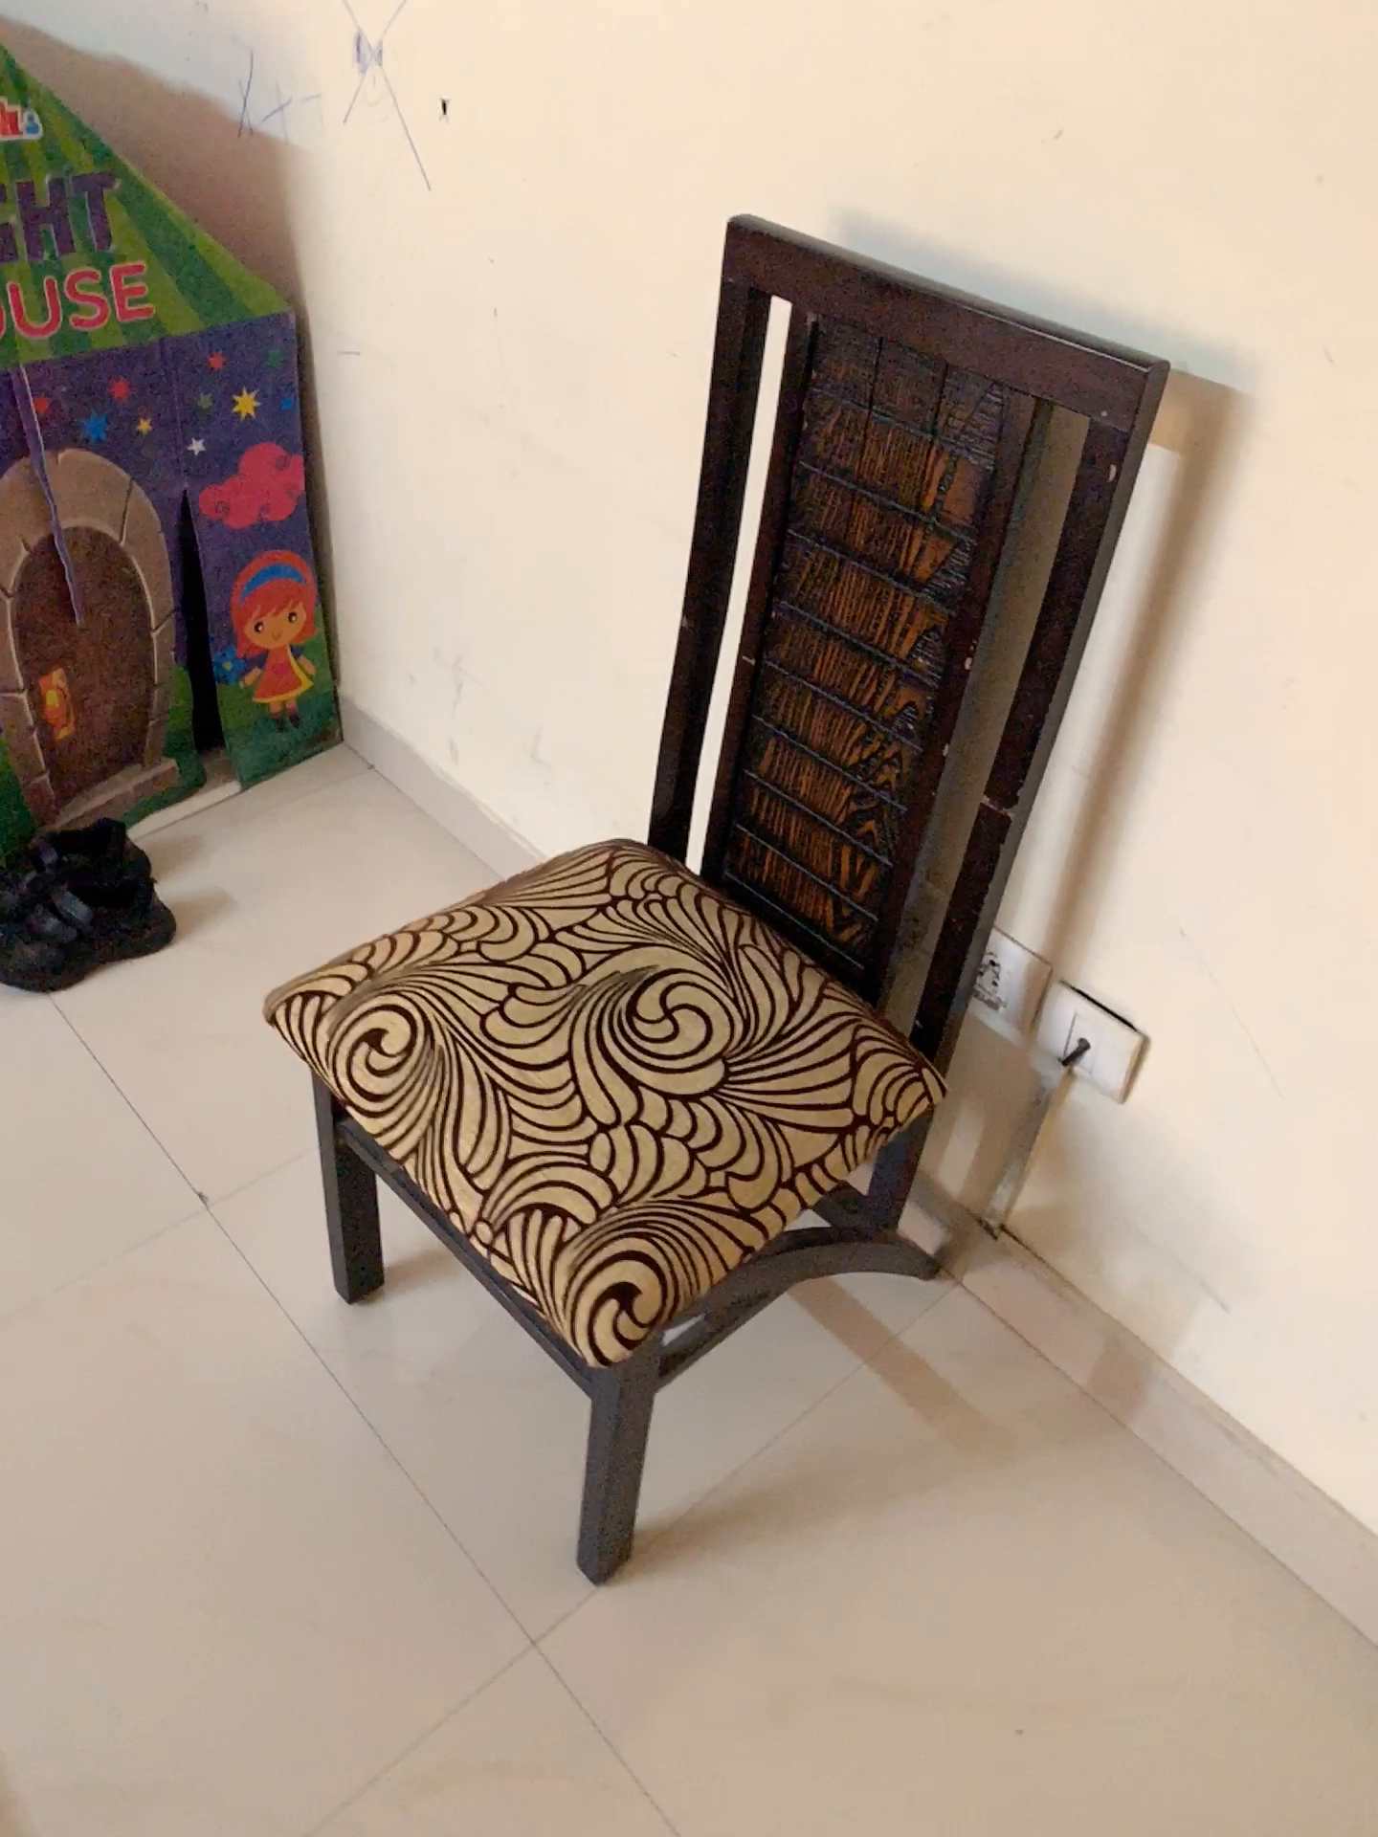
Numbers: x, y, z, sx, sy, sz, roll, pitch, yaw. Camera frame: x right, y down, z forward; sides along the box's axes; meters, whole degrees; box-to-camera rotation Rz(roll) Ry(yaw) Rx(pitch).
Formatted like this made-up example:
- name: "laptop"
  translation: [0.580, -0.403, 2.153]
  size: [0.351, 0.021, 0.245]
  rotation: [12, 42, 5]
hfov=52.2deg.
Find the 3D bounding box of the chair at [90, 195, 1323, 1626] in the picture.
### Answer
- name: "chair"
  translation: [-0.010, -0.008, 1.191]
  size: [0.583, 0.922, 0.532]
  rotation: [-30, 52, -35]
